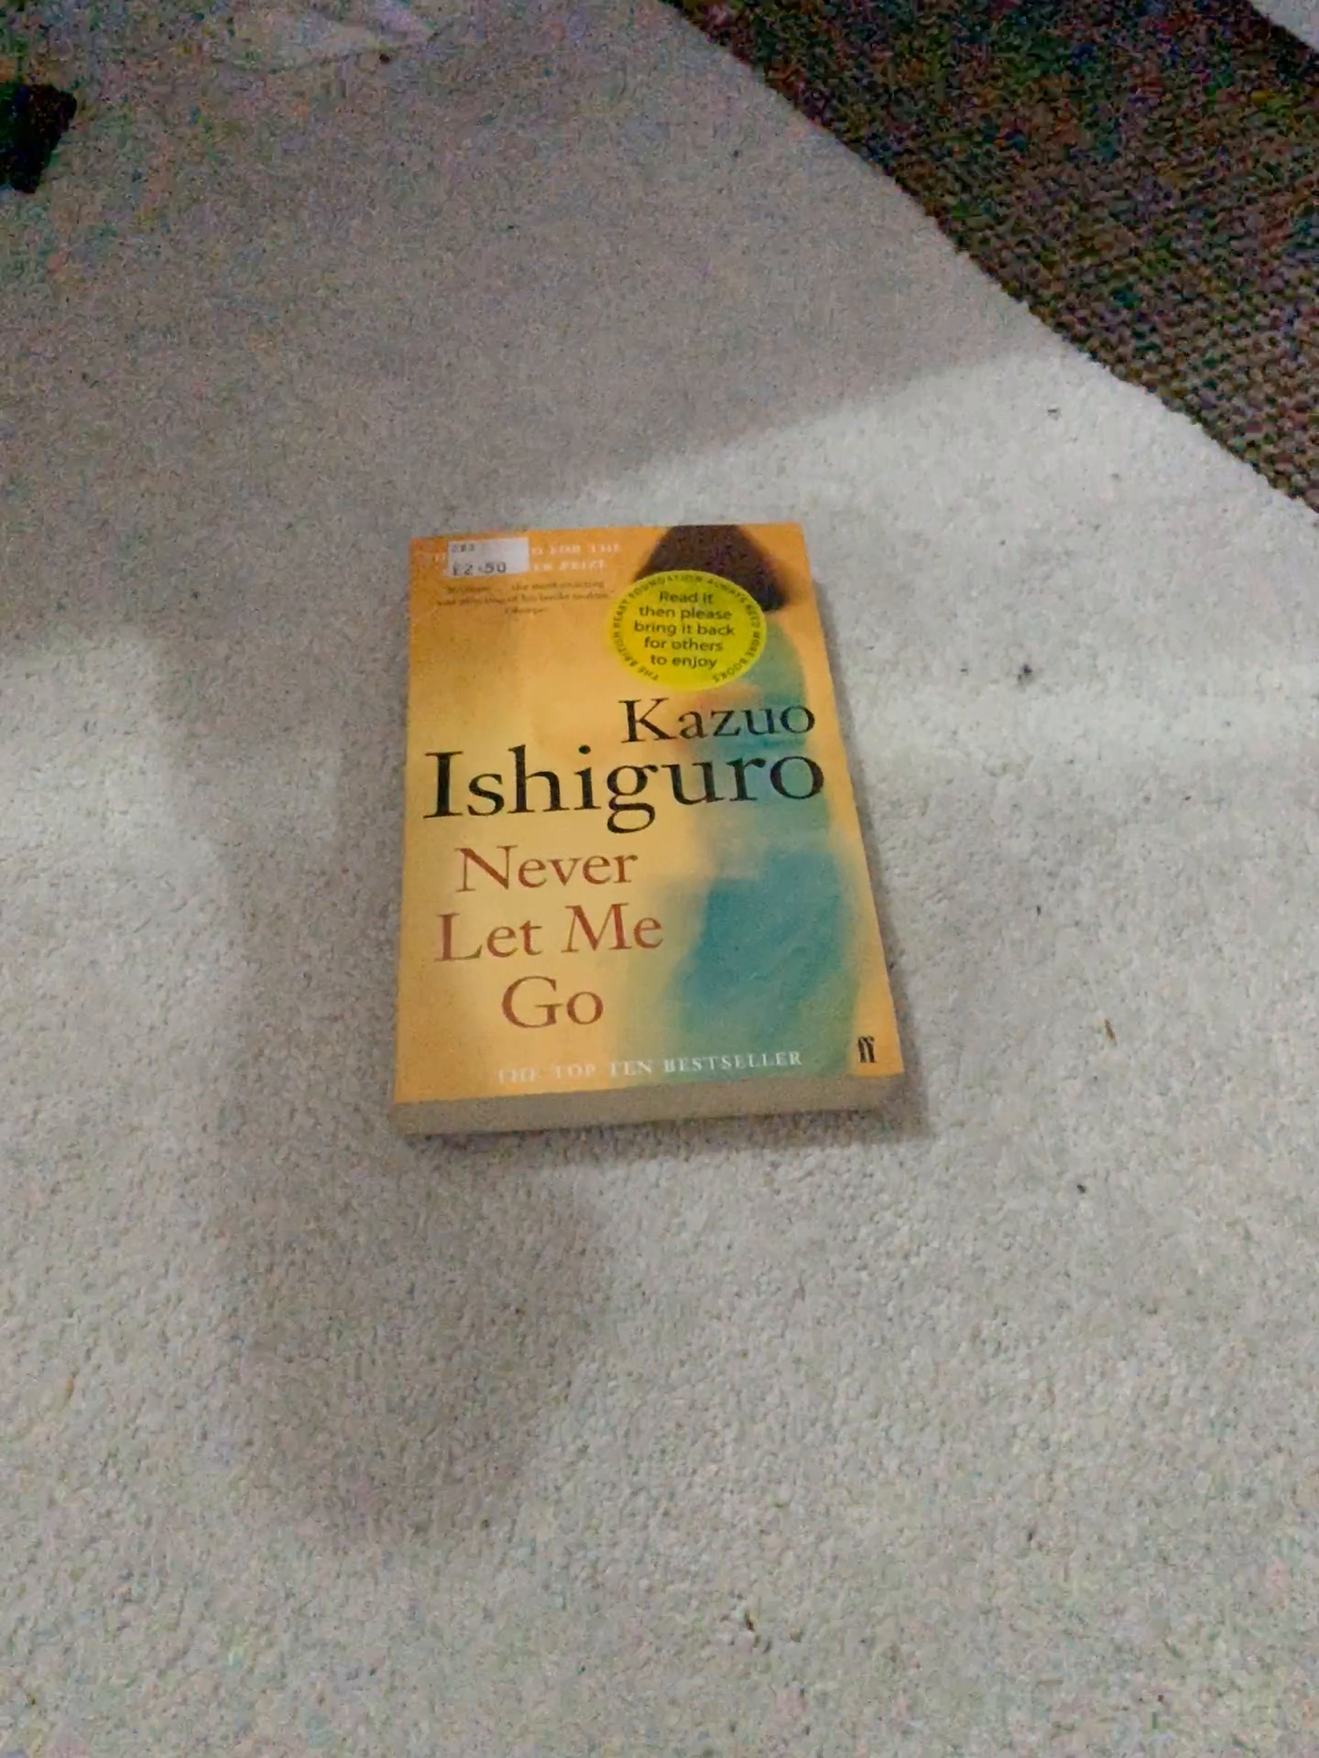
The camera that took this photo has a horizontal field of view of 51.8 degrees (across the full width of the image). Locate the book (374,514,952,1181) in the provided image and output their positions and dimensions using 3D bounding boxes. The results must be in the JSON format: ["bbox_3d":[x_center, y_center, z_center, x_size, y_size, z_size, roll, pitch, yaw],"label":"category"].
[{"bbox_3d":[-0.006,-0.022,0.393,0.140,0.020,0.211,-3,57,-3],"label":"book"}]
